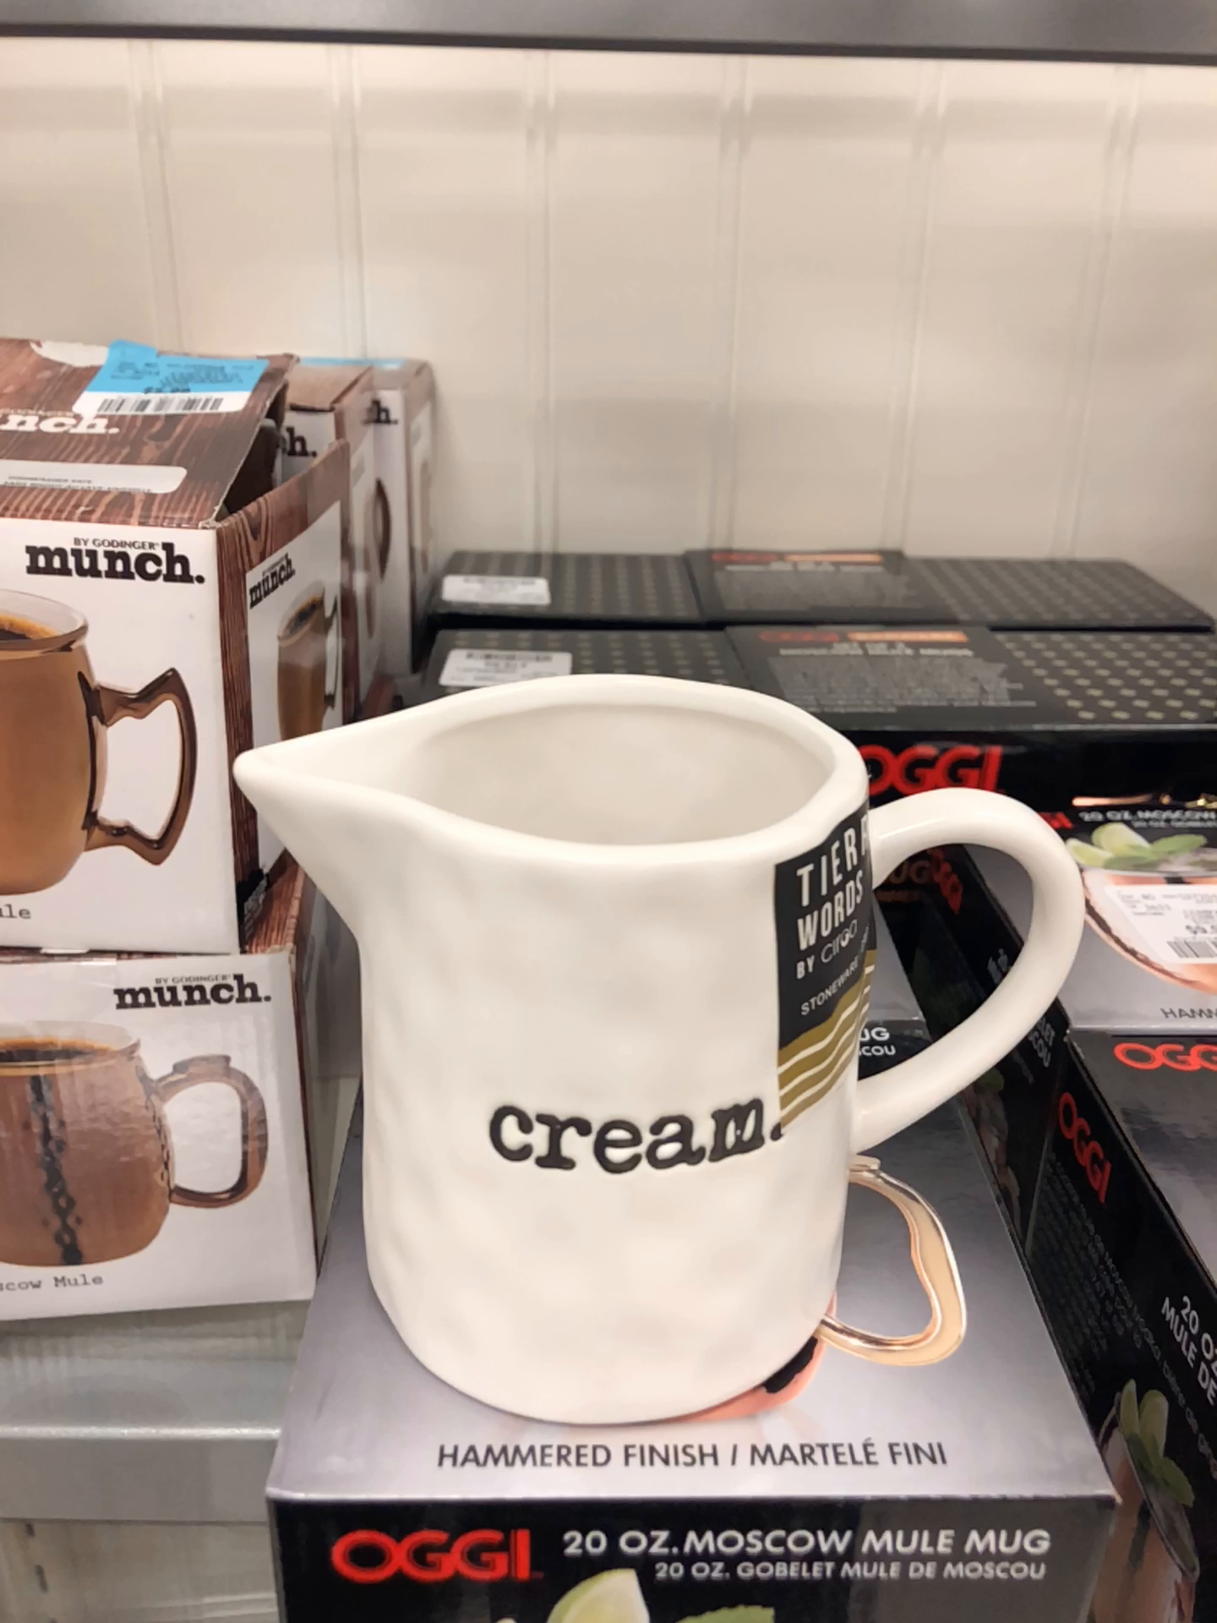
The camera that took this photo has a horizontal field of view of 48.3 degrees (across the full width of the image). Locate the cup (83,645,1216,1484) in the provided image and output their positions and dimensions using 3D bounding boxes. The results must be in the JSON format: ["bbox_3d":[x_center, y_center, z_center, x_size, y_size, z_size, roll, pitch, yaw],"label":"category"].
[{"bbox_3d":[0.008,0.027,0.179,0.125,0.080,0.063,-2,24,-7],"label":"cup"}]
